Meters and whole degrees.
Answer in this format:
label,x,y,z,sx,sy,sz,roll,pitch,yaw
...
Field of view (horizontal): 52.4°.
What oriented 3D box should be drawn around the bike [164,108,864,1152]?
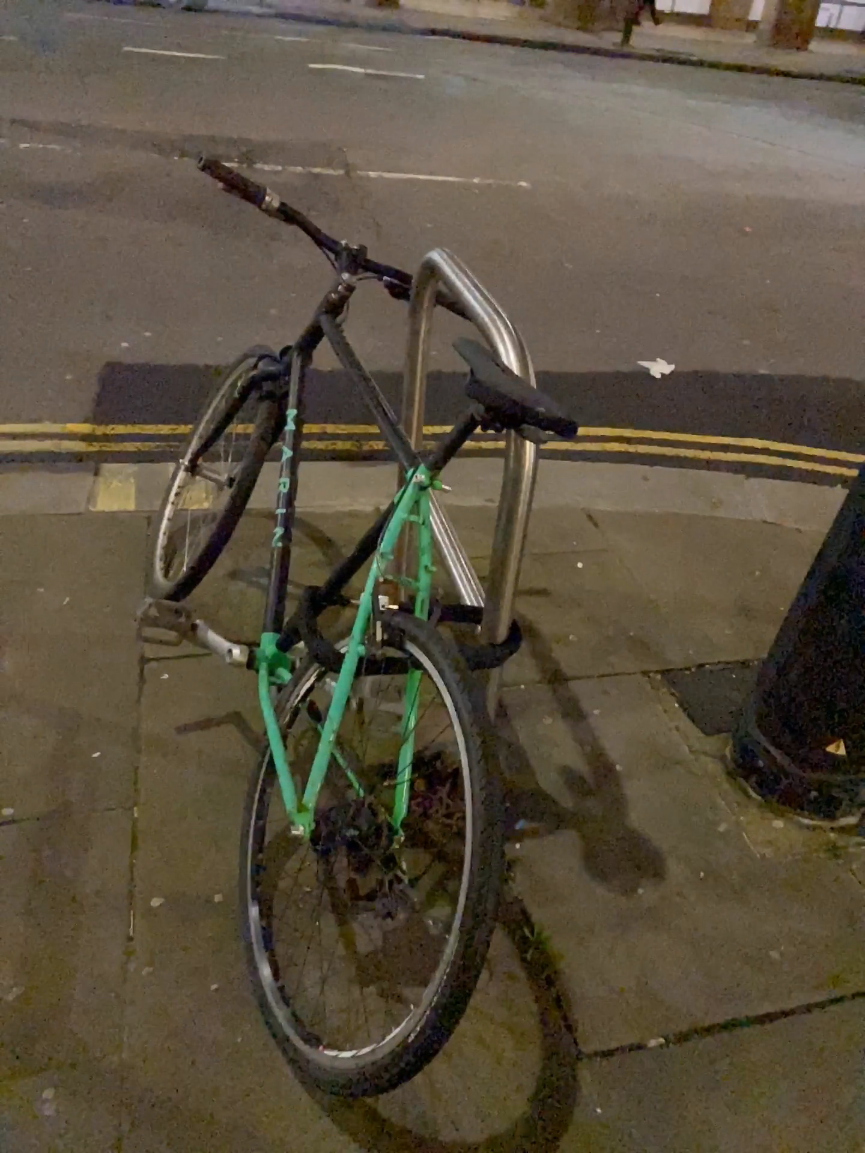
label,x,y,z,sx,sy,sz,roll,pitch,yaw
bike,-0.028,-0.142,1.633,0.639,1.013,1.695,-8,38,-19
